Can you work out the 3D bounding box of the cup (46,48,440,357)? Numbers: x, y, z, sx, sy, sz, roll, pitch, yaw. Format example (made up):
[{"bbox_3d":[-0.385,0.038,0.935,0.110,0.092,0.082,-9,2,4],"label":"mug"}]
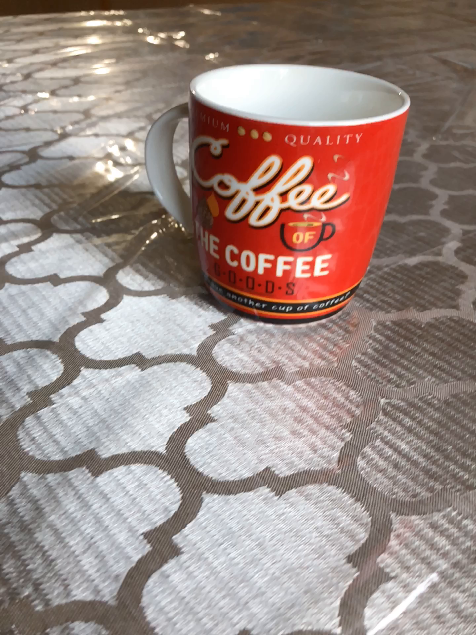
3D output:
[{"bbox_3d":[0.009,-0.067,0.252,0.130,0.080,0.121,2,36,-1],"label":"cup"}]
